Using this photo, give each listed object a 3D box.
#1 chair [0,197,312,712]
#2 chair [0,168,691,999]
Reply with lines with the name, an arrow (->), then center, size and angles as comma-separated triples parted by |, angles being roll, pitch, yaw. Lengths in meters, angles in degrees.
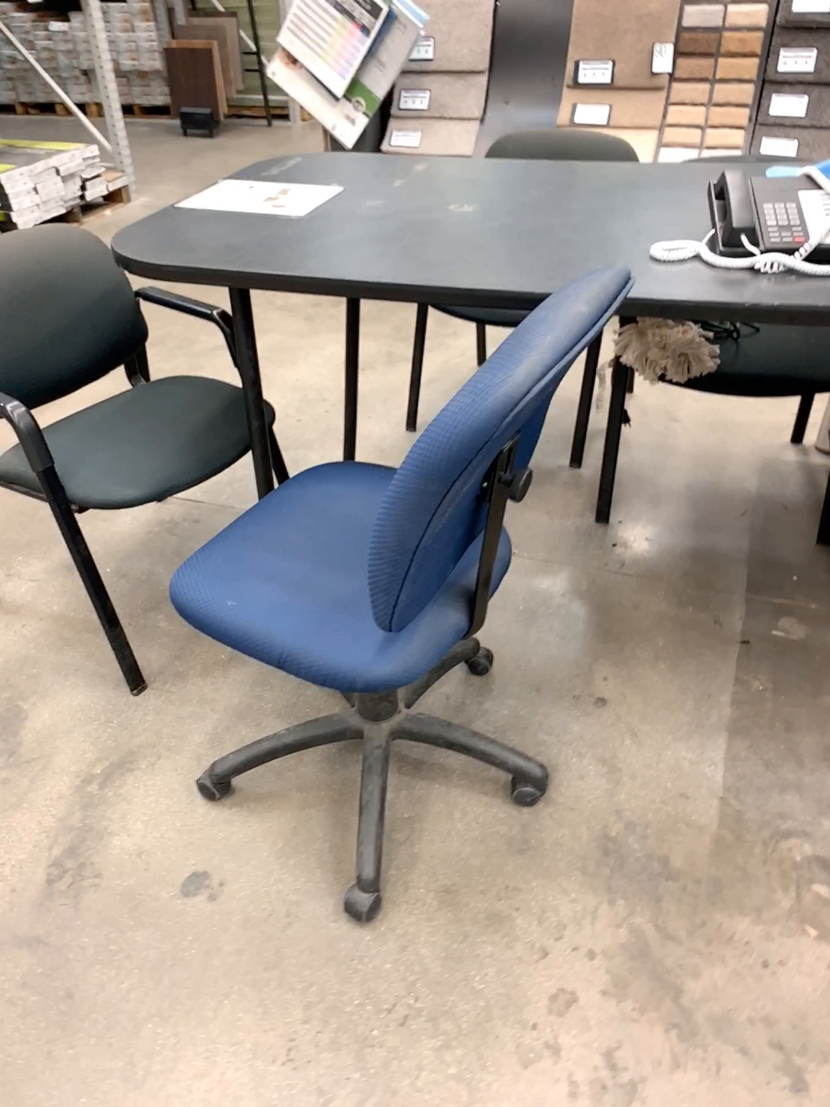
chair -> -0.648, -0.235, 1.793 | 0.542, 0.800, 0.569 | 21, 42, 29
chair -> -0.064, -0.015, 1.303 | 0.662, 0.889, 0.700 | 16, 39, 24
